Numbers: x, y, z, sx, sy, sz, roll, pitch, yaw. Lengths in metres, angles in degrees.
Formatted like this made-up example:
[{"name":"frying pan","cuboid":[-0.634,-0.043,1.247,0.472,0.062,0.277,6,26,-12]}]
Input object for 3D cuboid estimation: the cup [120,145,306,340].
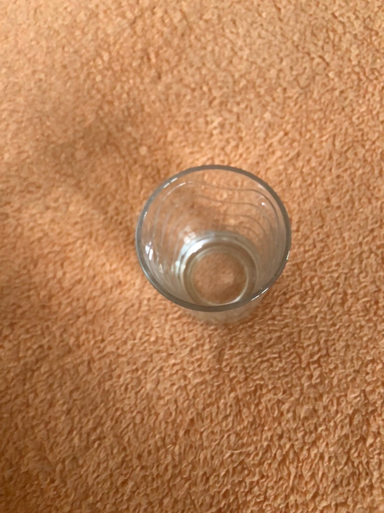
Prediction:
[{"name":"cup","cuboid":[0.013,-0.001,0.211,0.060,0.080,0.060,-2,73,5]}]
